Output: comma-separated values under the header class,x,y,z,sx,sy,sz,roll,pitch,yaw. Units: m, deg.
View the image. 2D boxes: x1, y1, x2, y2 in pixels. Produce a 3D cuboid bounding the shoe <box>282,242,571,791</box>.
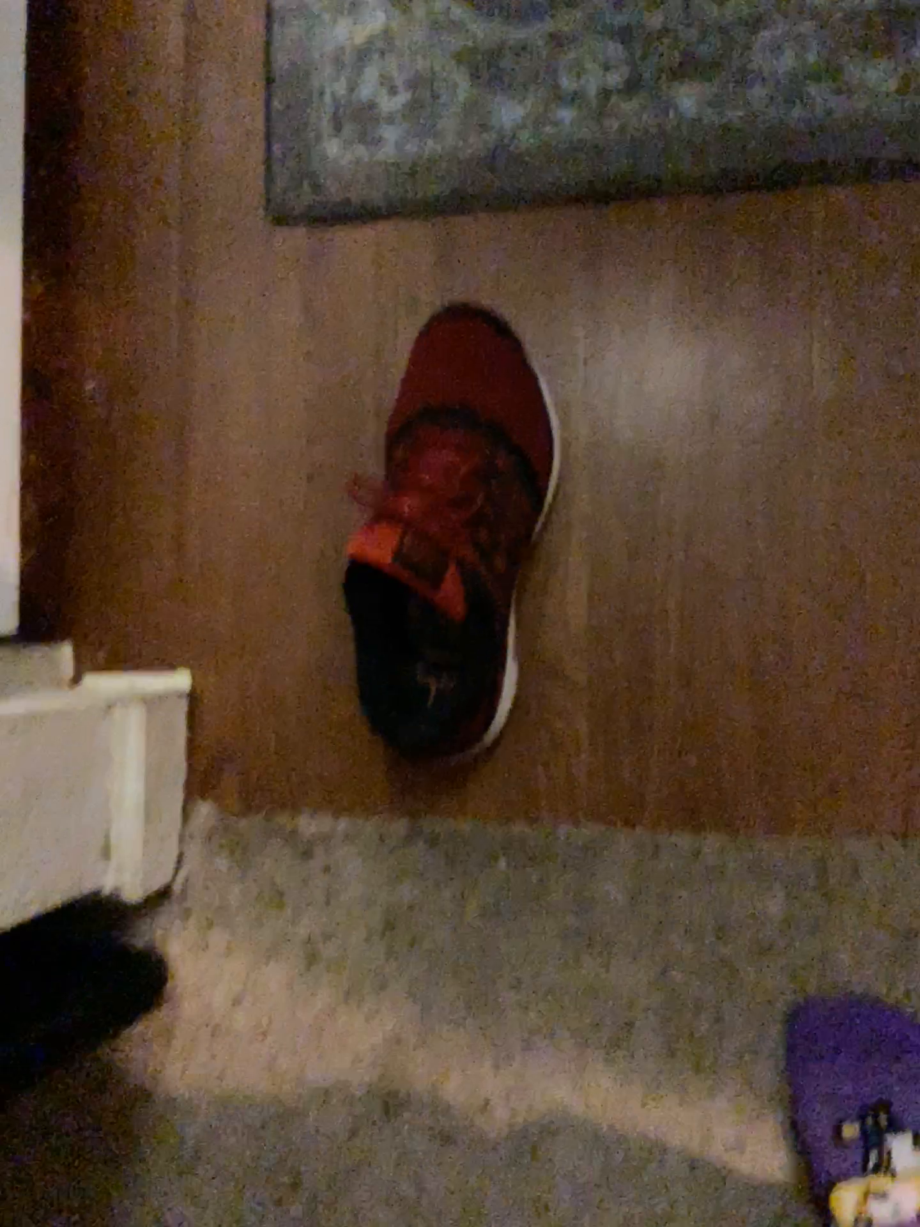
class,x,y,z,sx,sy,sz,roll,pitch,yaw
shoe,-0.012,-0.055,0.647,0.130,0.140,0.300,5,88,9
